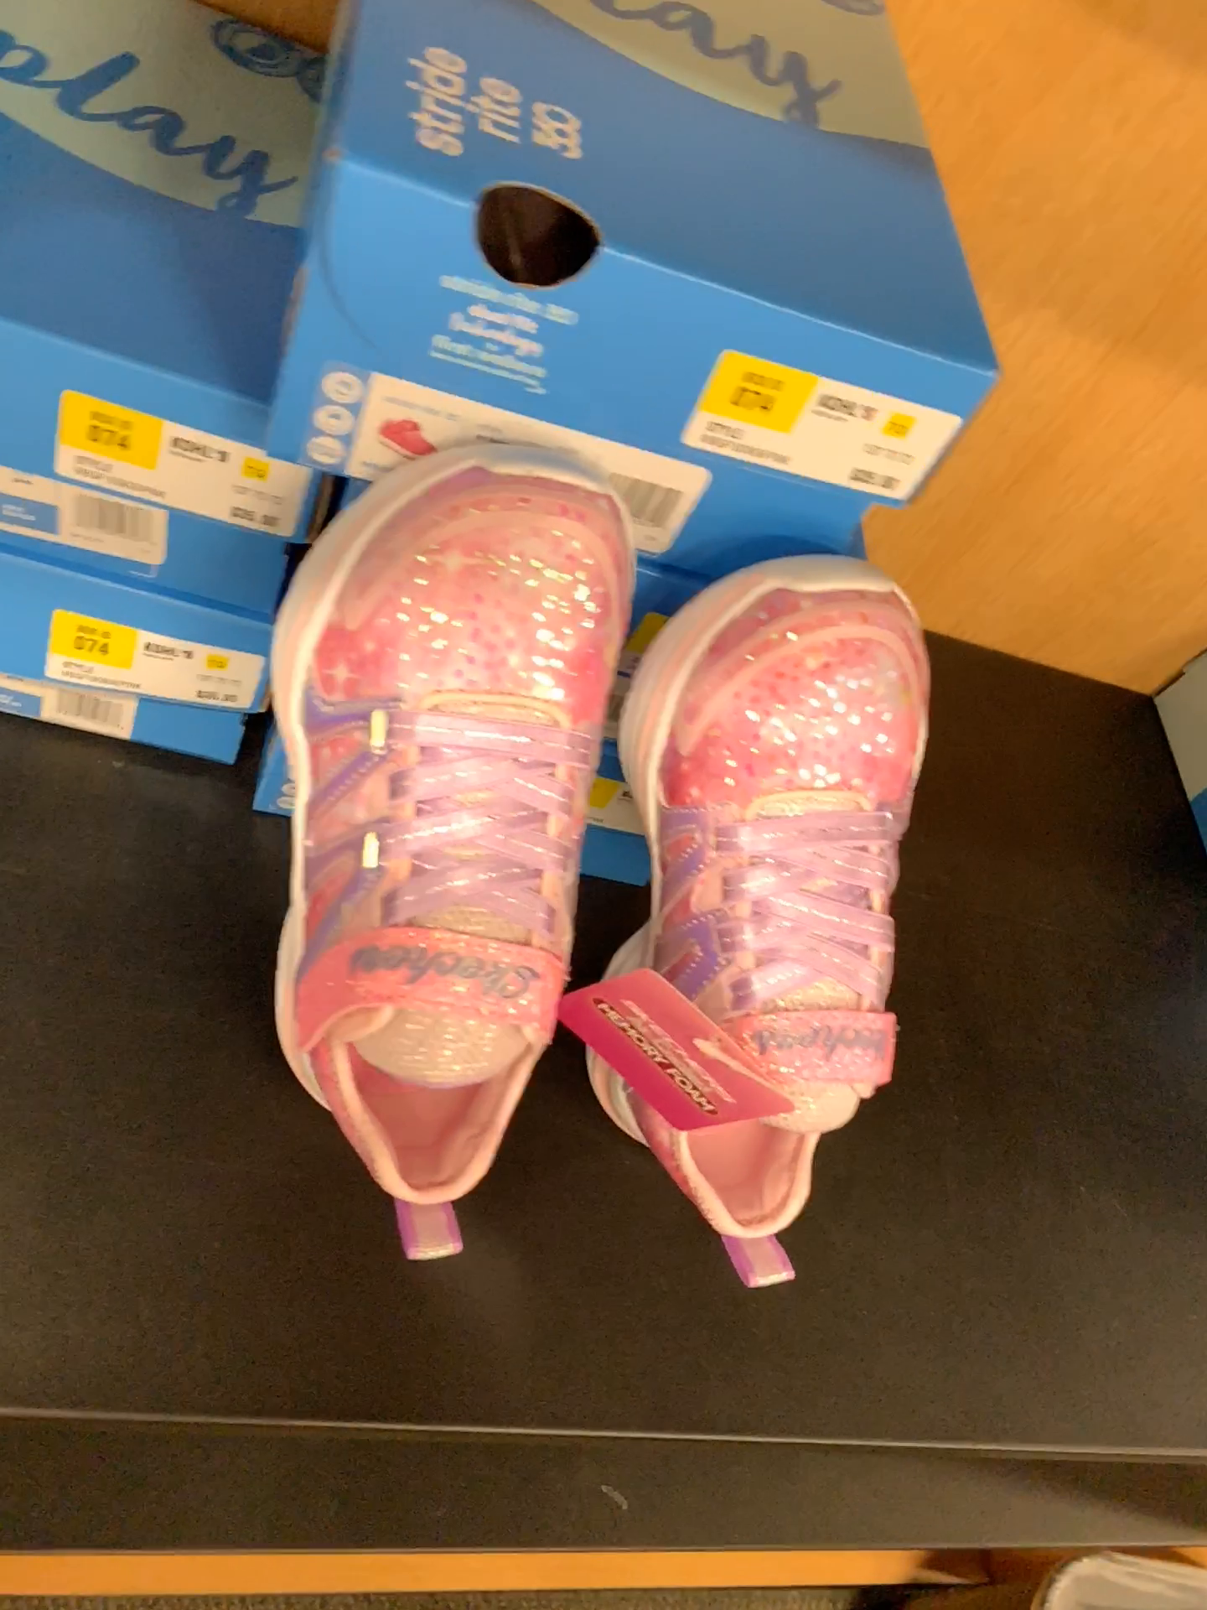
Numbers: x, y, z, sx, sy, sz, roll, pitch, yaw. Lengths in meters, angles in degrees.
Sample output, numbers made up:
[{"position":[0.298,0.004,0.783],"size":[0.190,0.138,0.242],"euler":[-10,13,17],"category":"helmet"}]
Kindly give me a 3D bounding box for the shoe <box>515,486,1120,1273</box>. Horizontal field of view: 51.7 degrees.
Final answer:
[{"position":[0.039,0.028,0.336],"size":[0.090,0.199,0.080],"euler":[1,36,-15],"category":"shoe"}]

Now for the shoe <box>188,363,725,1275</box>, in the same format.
[{"position":[-0.048,0.017,0.305],"size":[0.090,0.209,0.080],"euler":[5,35,-13],"category":"shoe"}]
